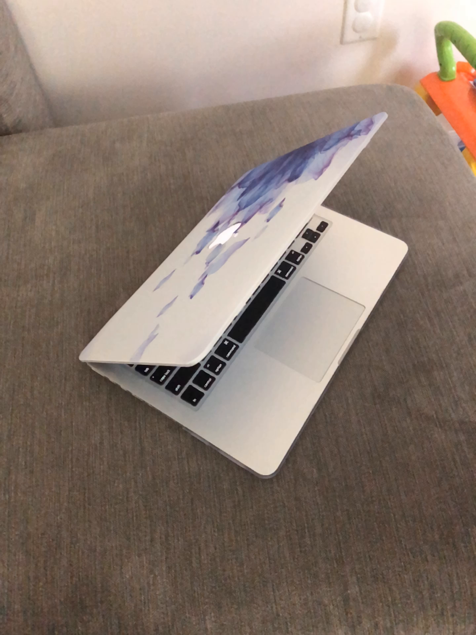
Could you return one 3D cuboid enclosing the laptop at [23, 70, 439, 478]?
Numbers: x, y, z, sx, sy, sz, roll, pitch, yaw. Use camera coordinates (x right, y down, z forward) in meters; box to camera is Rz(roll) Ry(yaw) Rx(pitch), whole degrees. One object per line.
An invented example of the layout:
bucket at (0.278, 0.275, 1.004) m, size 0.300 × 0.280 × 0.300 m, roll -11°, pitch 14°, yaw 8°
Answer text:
laptop at (0.014, -0.059, 0.496) m, size 0.217 × 0.137 × 0.308 m, roll 27°, pitch 61°, yaw 17°
